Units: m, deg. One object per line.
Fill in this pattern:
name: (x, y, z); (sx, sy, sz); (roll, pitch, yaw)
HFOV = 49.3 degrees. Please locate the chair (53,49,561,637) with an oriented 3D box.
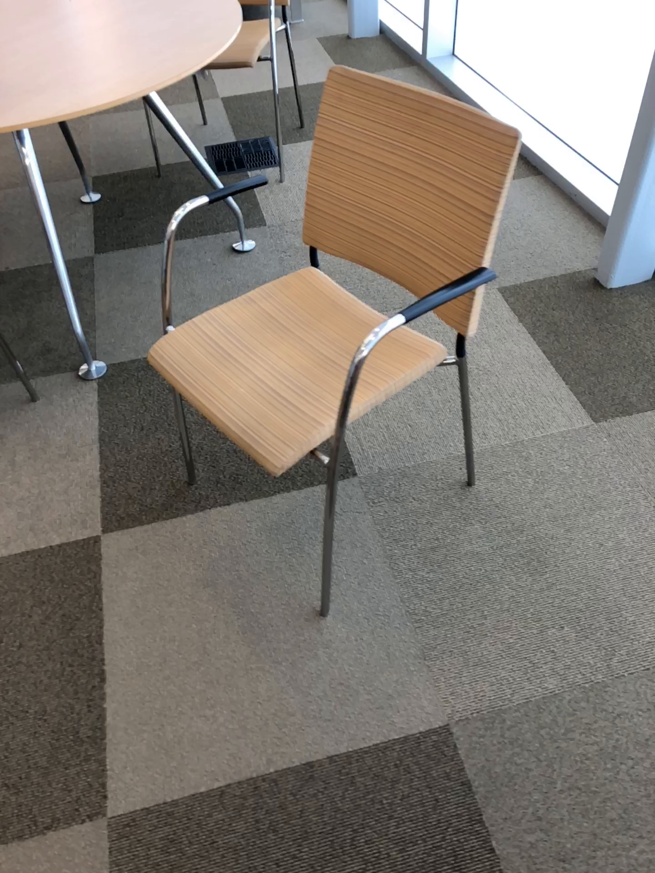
chair: (-0.018, -0.165, 1.336); (0.547, 0.797, 0.516); (-34, 52, -26)
